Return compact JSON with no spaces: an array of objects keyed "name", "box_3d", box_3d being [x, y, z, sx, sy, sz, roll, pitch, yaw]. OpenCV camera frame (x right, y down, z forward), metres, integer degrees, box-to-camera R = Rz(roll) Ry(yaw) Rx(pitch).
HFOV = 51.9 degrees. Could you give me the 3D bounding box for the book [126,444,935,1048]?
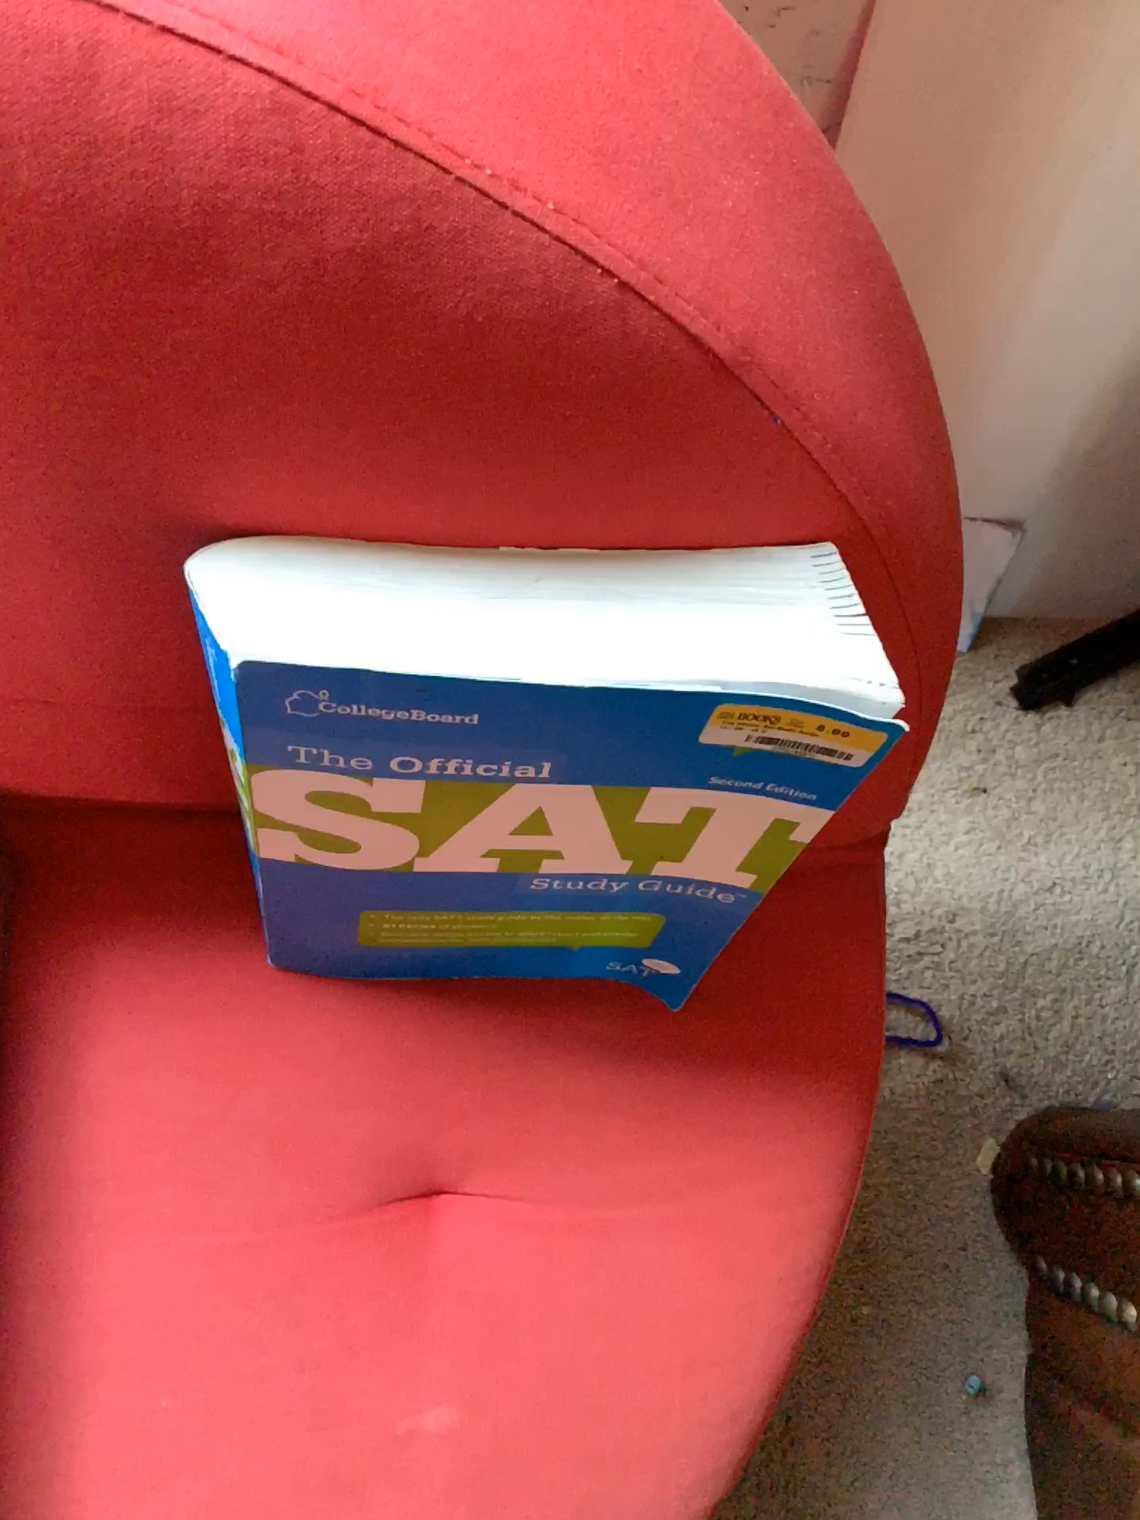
[{"name":"book","box_3d":[-0.025,0.019,0.459,0.230,0.260,0.080,6,55,-6]}]
